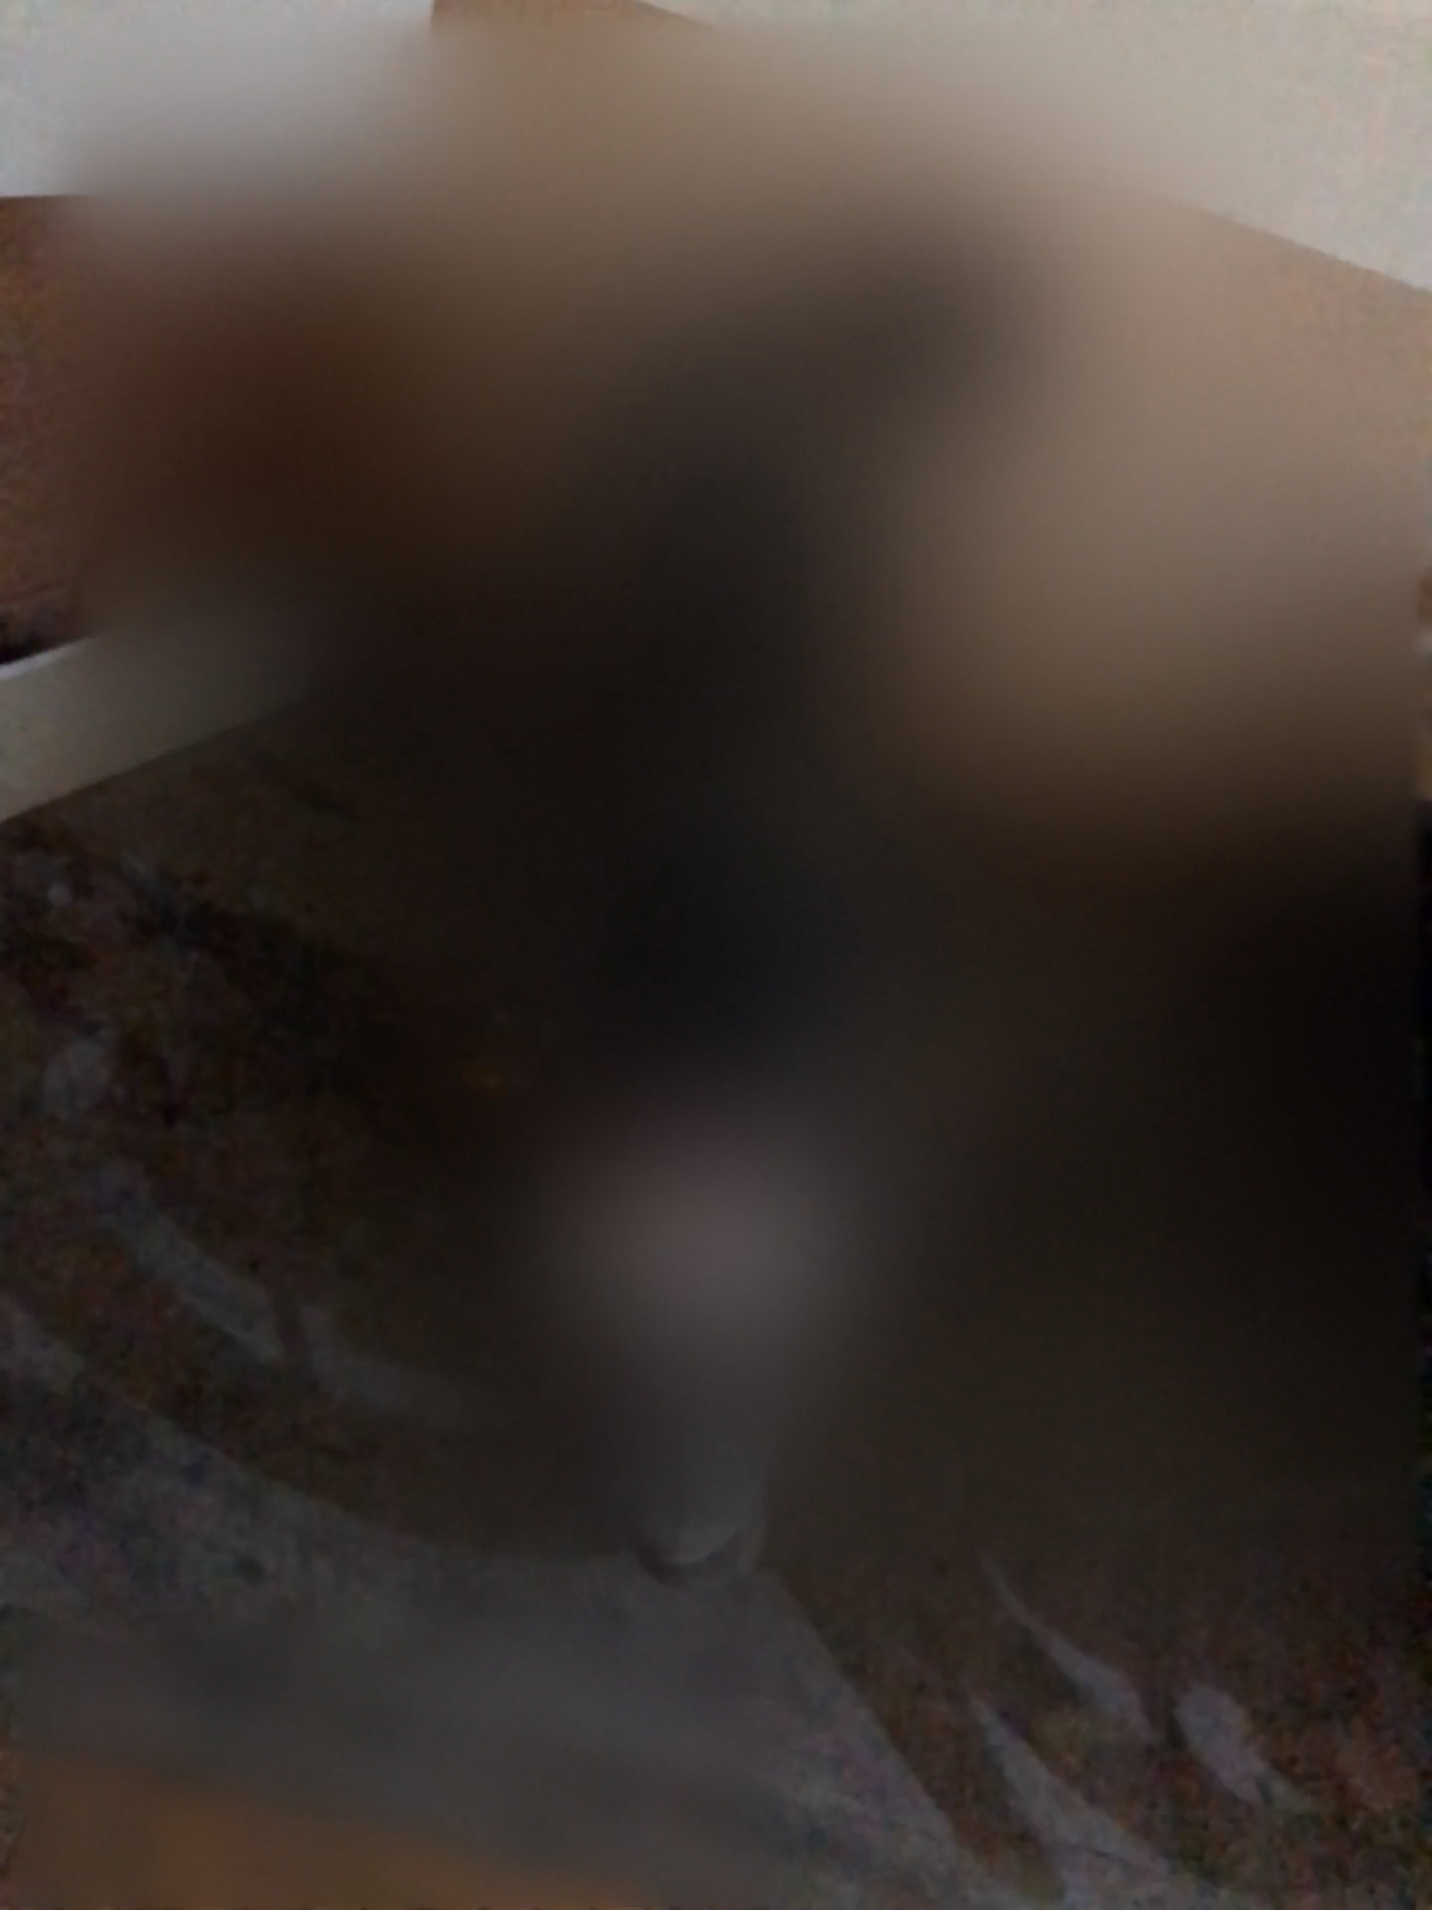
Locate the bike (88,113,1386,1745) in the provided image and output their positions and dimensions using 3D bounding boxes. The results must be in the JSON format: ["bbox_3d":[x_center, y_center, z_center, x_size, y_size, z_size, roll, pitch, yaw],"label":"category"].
[{"bbox_3d":[-0.094,-0.202,1.971,0.717,1.179,1.711,14,33,-9],"label":"bike"}]
